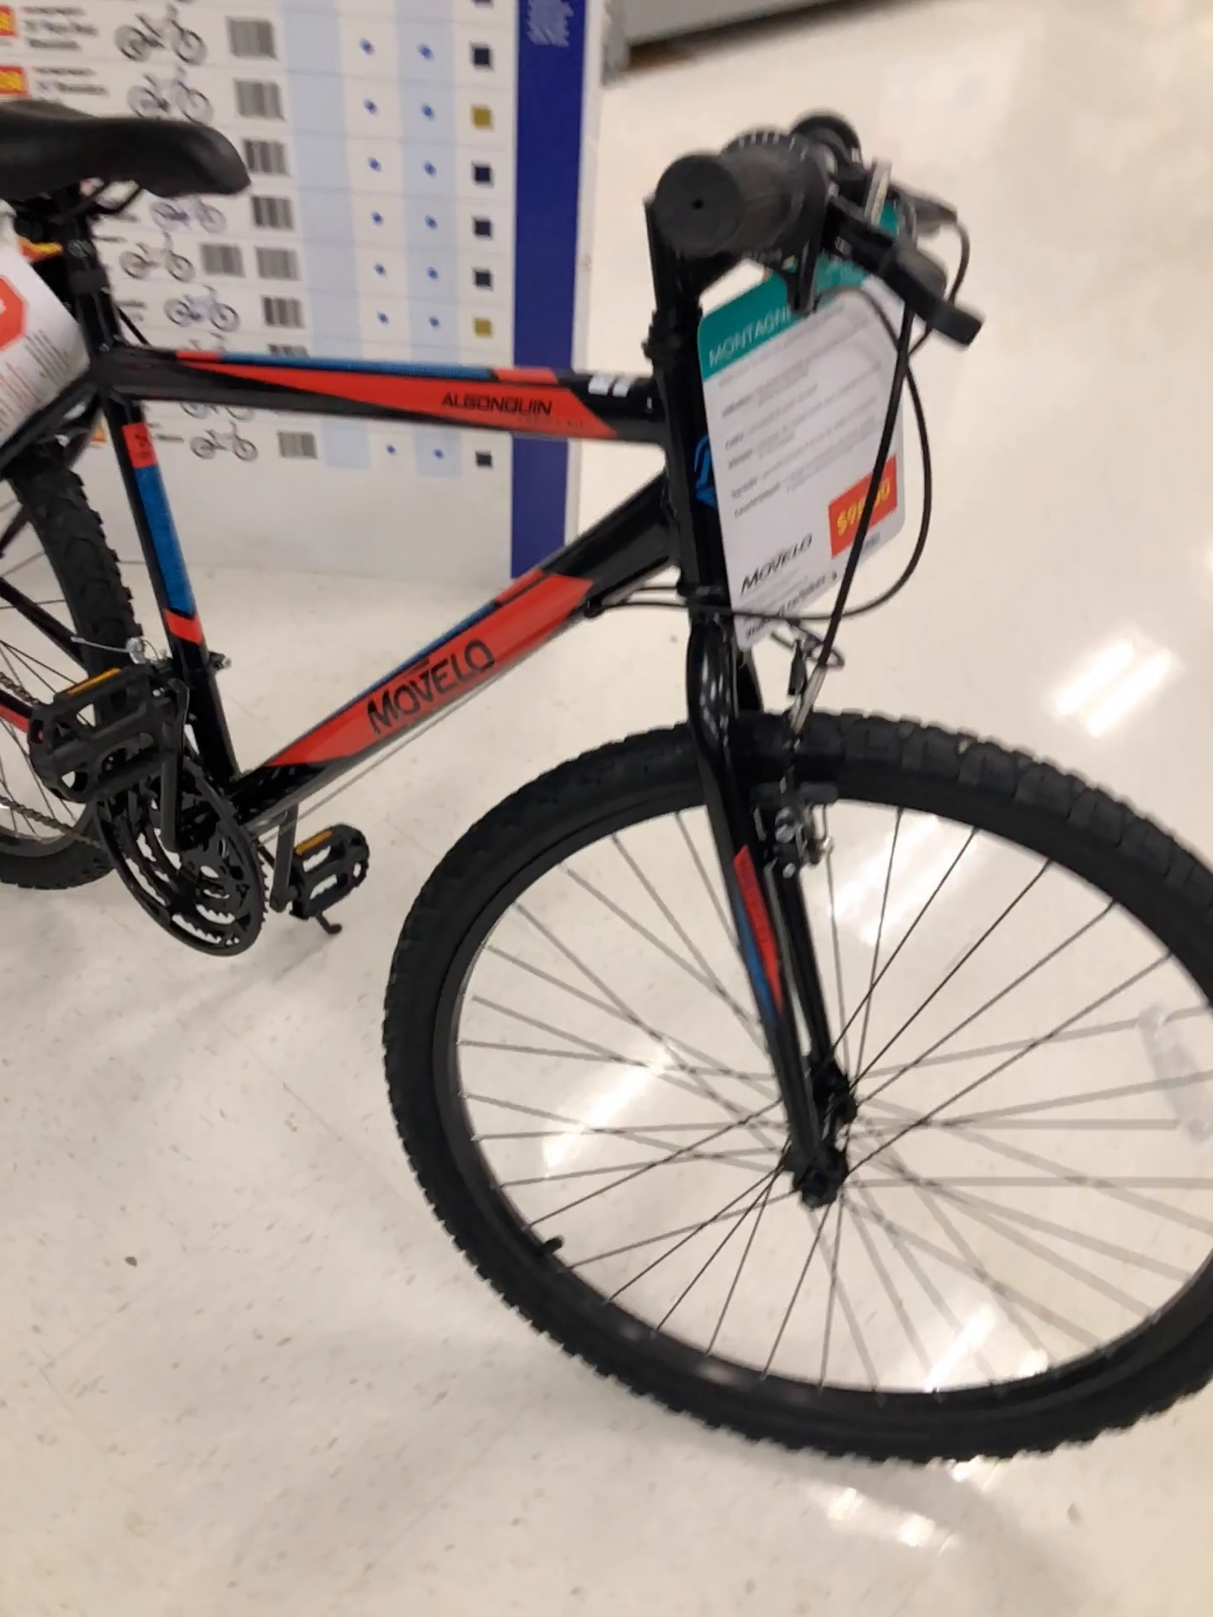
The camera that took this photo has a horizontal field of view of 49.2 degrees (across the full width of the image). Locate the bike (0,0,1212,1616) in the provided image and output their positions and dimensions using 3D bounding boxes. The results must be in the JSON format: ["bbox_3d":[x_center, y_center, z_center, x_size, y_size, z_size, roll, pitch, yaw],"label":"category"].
[{"bbox_3d":[-0.102,-0.078,0.918,1.287,0.942,0.561,26,48,23],"label":"bike"}]
